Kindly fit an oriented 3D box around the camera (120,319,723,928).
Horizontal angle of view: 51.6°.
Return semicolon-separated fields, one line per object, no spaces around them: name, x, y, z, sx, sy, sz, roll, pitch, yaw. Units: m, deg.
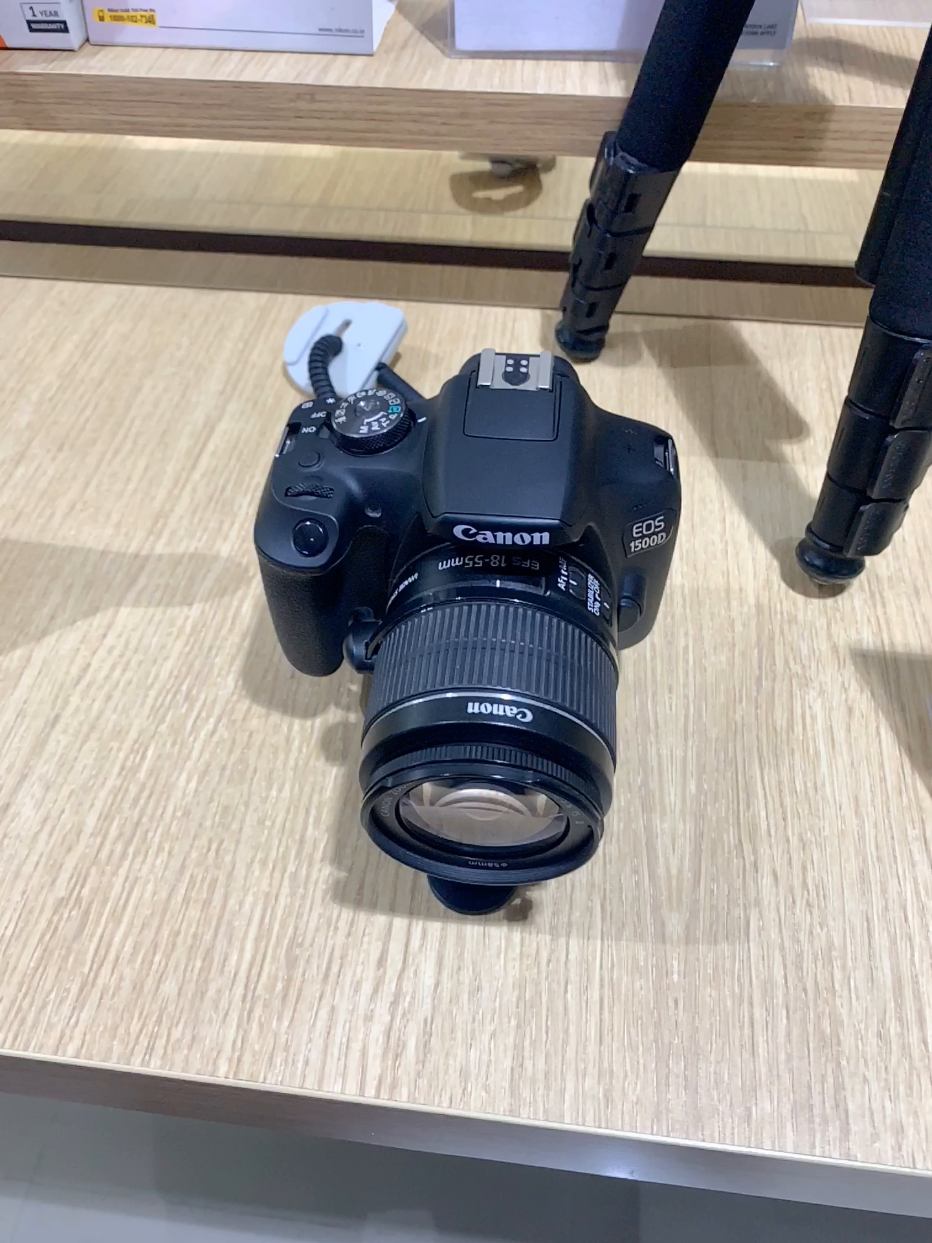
camera;-0.003;-0.005;0.271;0.121;0.088;0.140;4;49;4
